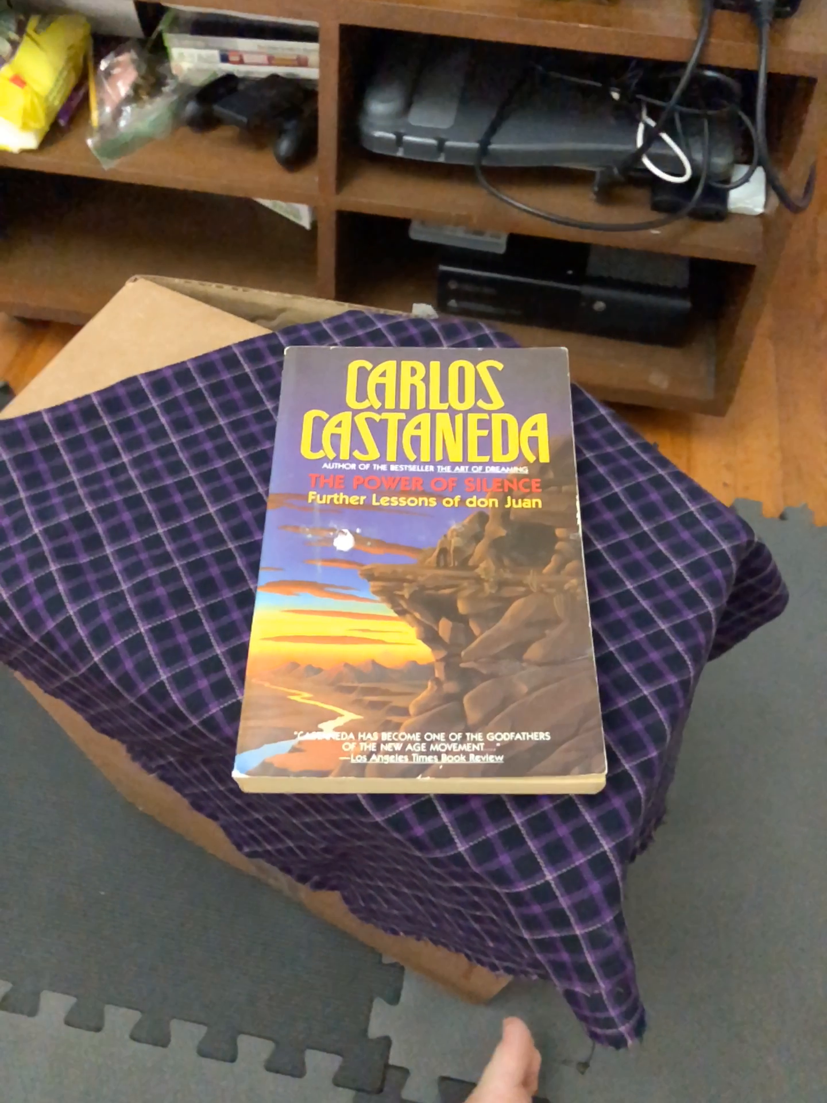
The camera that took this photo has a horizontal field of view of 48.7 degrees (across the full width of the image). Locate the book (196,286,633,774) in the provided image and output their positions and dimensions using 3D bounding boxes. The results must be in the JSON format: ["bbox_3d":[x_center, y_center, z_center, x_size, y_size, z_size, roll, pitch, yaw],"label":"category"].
[{"bbox_3d":[0.003,-0.022,0.378,0.150,0.020,0.221,1,60,1],"label":"book"}]
